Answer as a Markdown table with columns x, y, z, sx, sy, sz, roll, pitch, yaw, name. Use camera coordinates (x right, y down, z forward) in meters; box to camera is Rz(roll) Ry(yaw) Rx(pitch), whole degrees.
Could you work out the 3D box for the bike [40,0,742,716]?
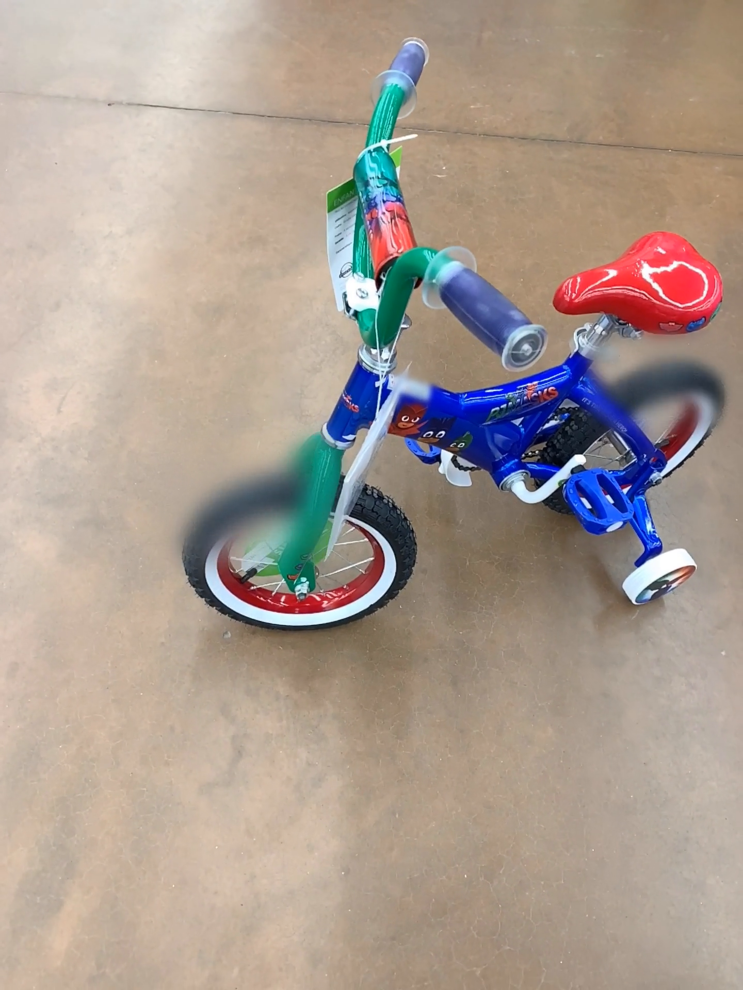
| x | y | z | sx | sy | sz | roll | pitch | yaw | name |
| --- | --- | --- | --- | --- | --- | --- | --- | --- | --- |
| 0.146 | -0.164 | 0.937 | 0.794 | 0.695 | 0.466 | -14 | 58 | -13 | bike |
